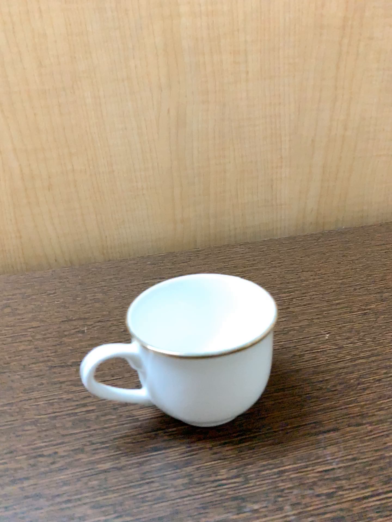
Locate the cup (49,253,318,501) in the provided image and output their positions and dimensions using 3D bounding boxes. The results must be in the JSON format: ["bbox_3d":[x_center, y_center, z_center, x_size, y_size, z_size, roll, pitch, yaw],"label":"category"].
[{"bbox_3d":[-0.007,0.039,0.169,0.090,0.050,0.060,-13,25,-20],"label":"cup"}]
